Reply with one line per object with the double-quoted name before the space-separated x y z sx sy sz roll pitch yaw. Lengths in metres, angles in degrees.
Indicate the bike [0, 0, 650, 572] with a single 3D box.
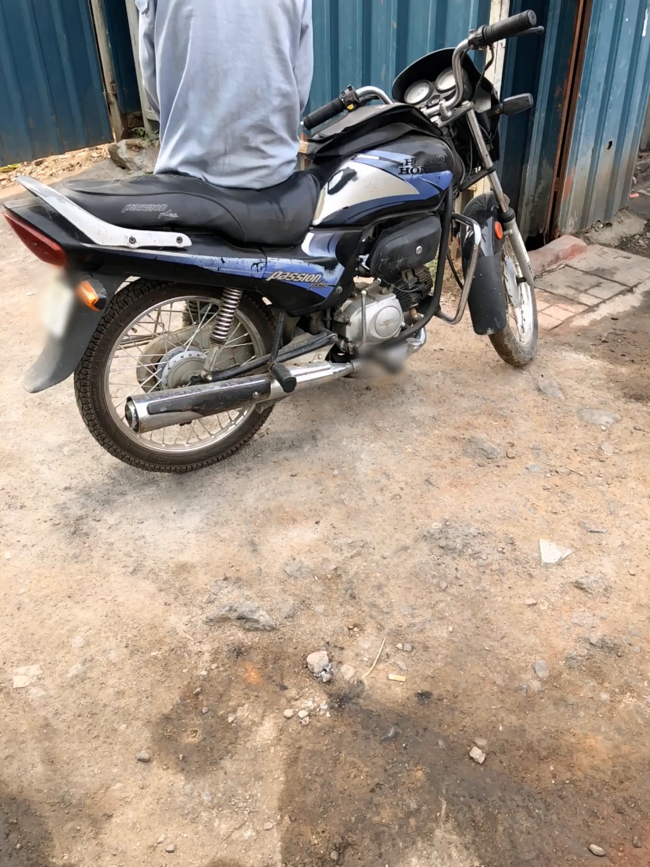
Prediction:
"bike" 0.040 -0.651 2.200 1.806 1.154 0.786 -24 39 -28
